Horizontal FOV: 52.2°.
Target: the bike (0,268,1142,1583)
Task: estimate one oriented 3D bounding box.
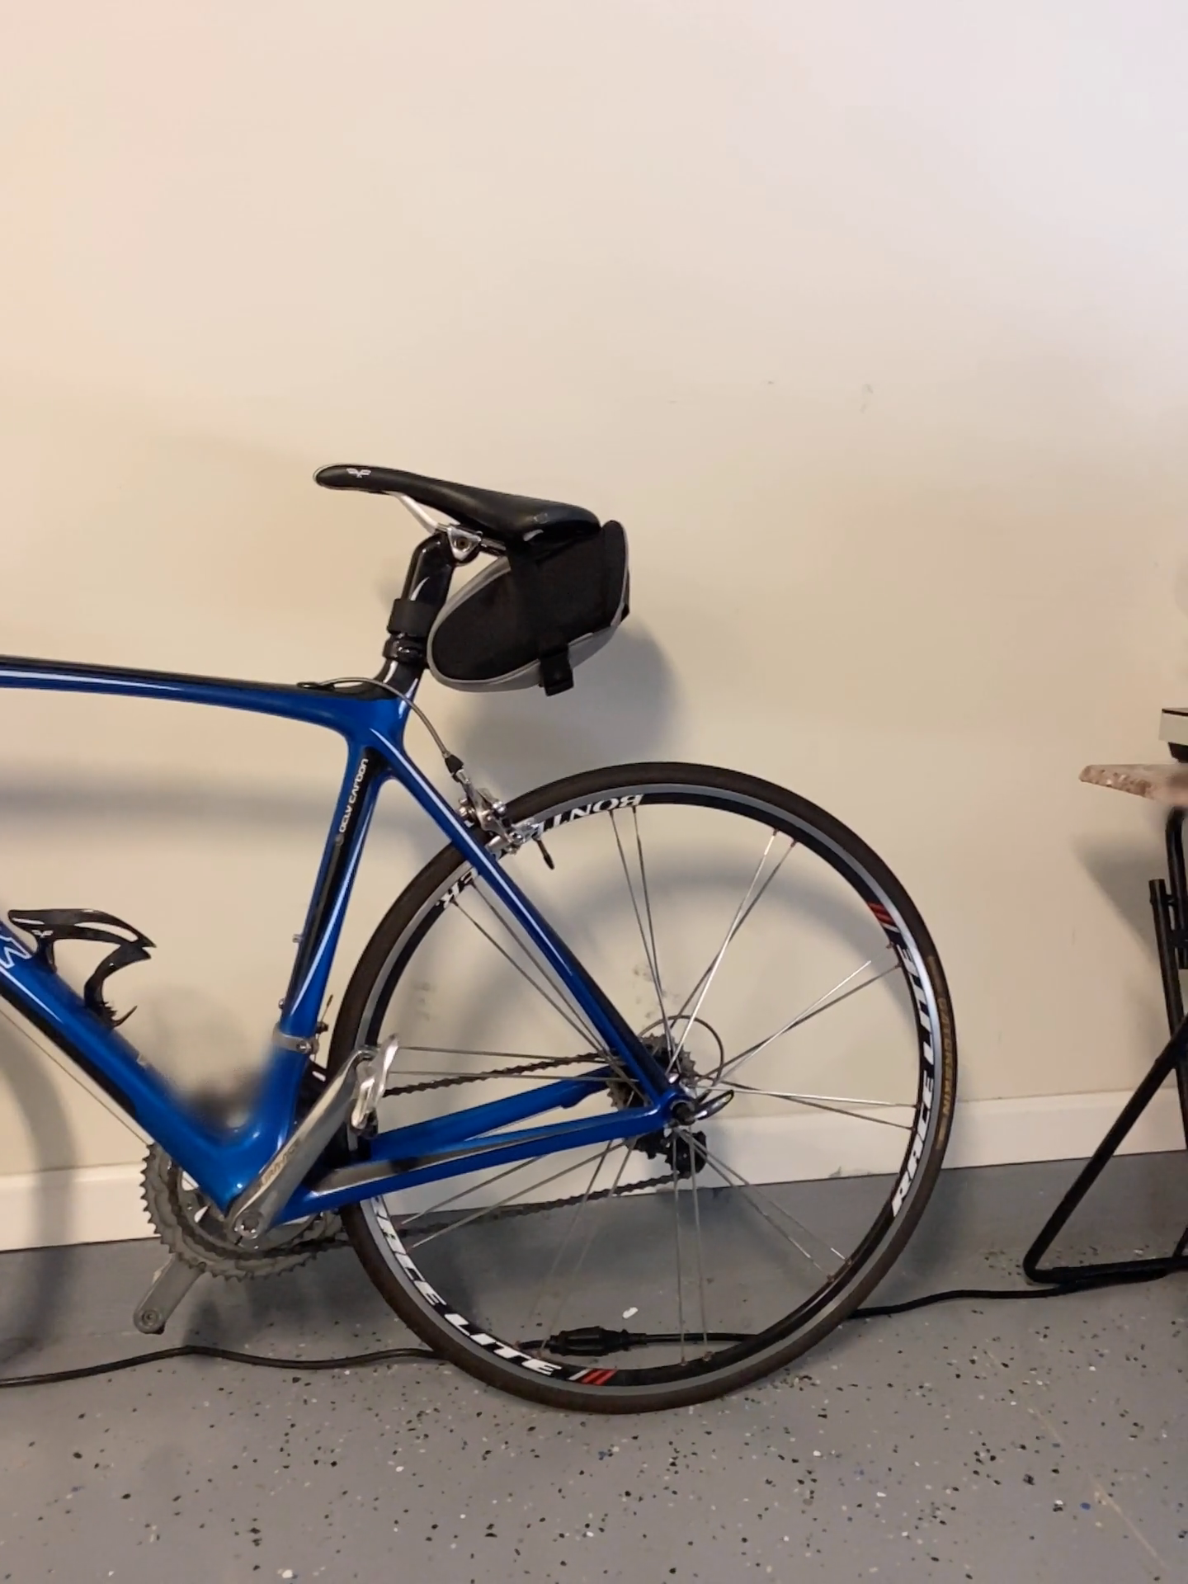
[{"bbox_3d":[-0.307,0.239,1.062,1.639,0.883,0.401,2,8,-24],"label":"bike"}]
